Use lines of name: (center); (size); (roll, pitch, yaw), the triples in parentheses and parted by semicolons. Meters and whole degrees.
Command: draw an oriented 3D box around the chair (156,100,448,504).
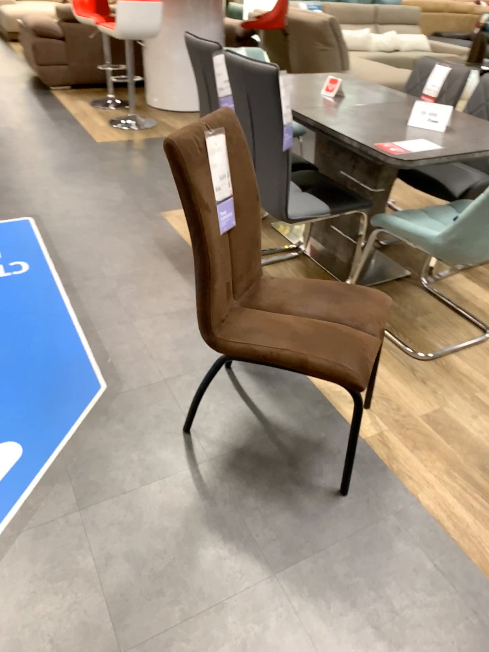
chair: (0.131, -0.056, 1.464); (0.590, 0.964, 0.443); (15, 37, 15)
